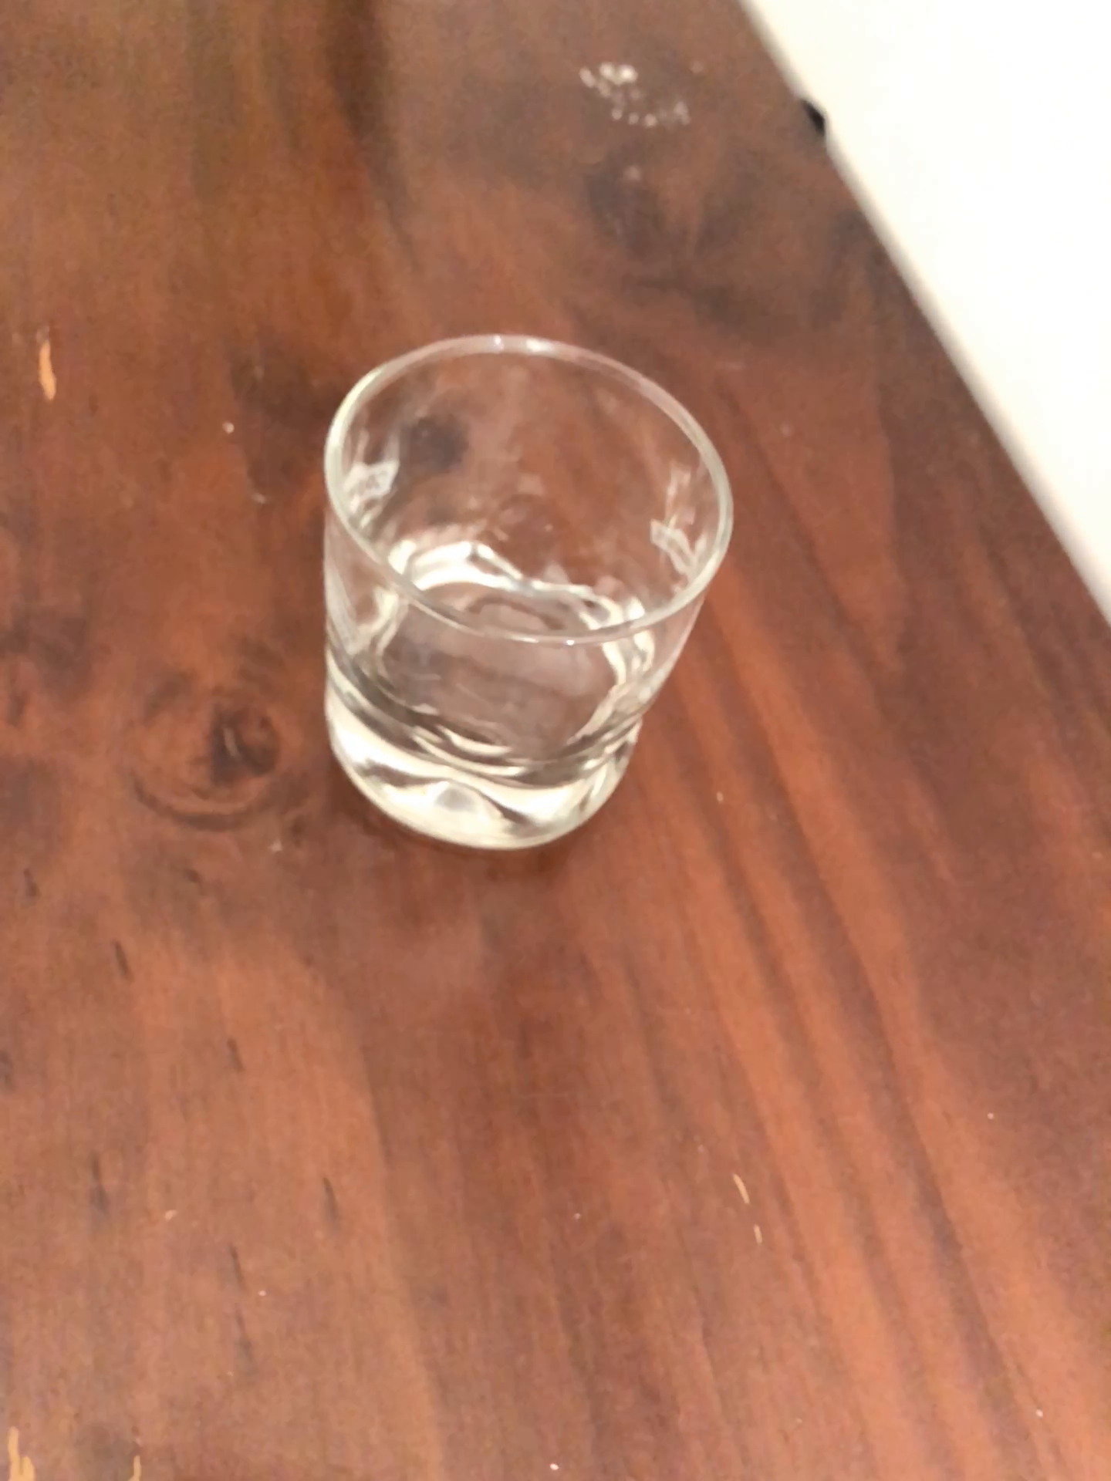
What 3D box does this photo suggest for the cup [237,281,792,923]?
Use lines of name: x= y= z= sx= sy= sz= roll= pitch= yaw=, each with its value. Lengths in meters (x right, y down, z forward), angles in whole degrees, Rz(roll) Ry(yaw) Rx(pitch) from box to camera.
cup: x=-0.010 y=-0.027 z=0.266 sx=0.081 sy=0.080 sz=0.082 roll=5 pitch=58 yaw=-8
